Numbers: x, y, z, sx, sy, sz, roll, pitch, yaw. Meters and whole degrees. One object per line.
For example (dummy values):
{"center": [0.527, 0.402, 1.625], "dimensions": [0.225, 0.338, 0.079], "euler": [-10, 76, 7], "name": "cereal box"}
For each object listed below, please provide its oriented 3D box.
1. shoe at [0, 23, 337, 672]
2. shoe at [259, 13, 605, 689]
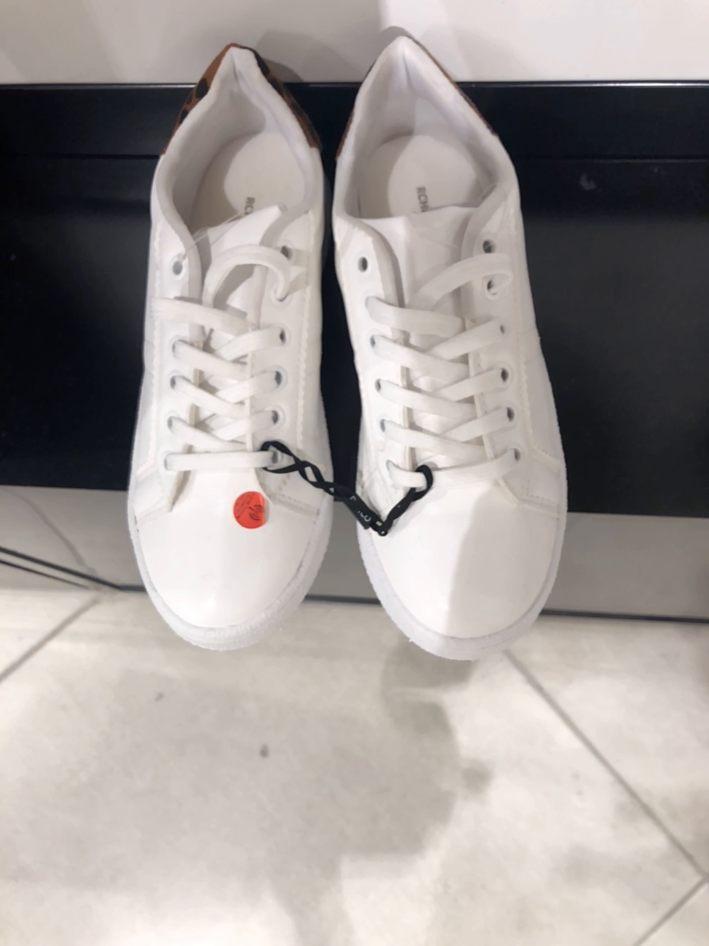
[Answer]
{"center": [-0.059, -0.040, 0.309], "dimensions": [0.090, 0.100, 0.220], "euler": [0, 79, 5], "name": "shoe"}
{"center": [0.024, -0.038, 0.304], "dimensions": [0.090, 0.100, 0.220], "euler": [-5, 78, 4], "name": "shoe"}
